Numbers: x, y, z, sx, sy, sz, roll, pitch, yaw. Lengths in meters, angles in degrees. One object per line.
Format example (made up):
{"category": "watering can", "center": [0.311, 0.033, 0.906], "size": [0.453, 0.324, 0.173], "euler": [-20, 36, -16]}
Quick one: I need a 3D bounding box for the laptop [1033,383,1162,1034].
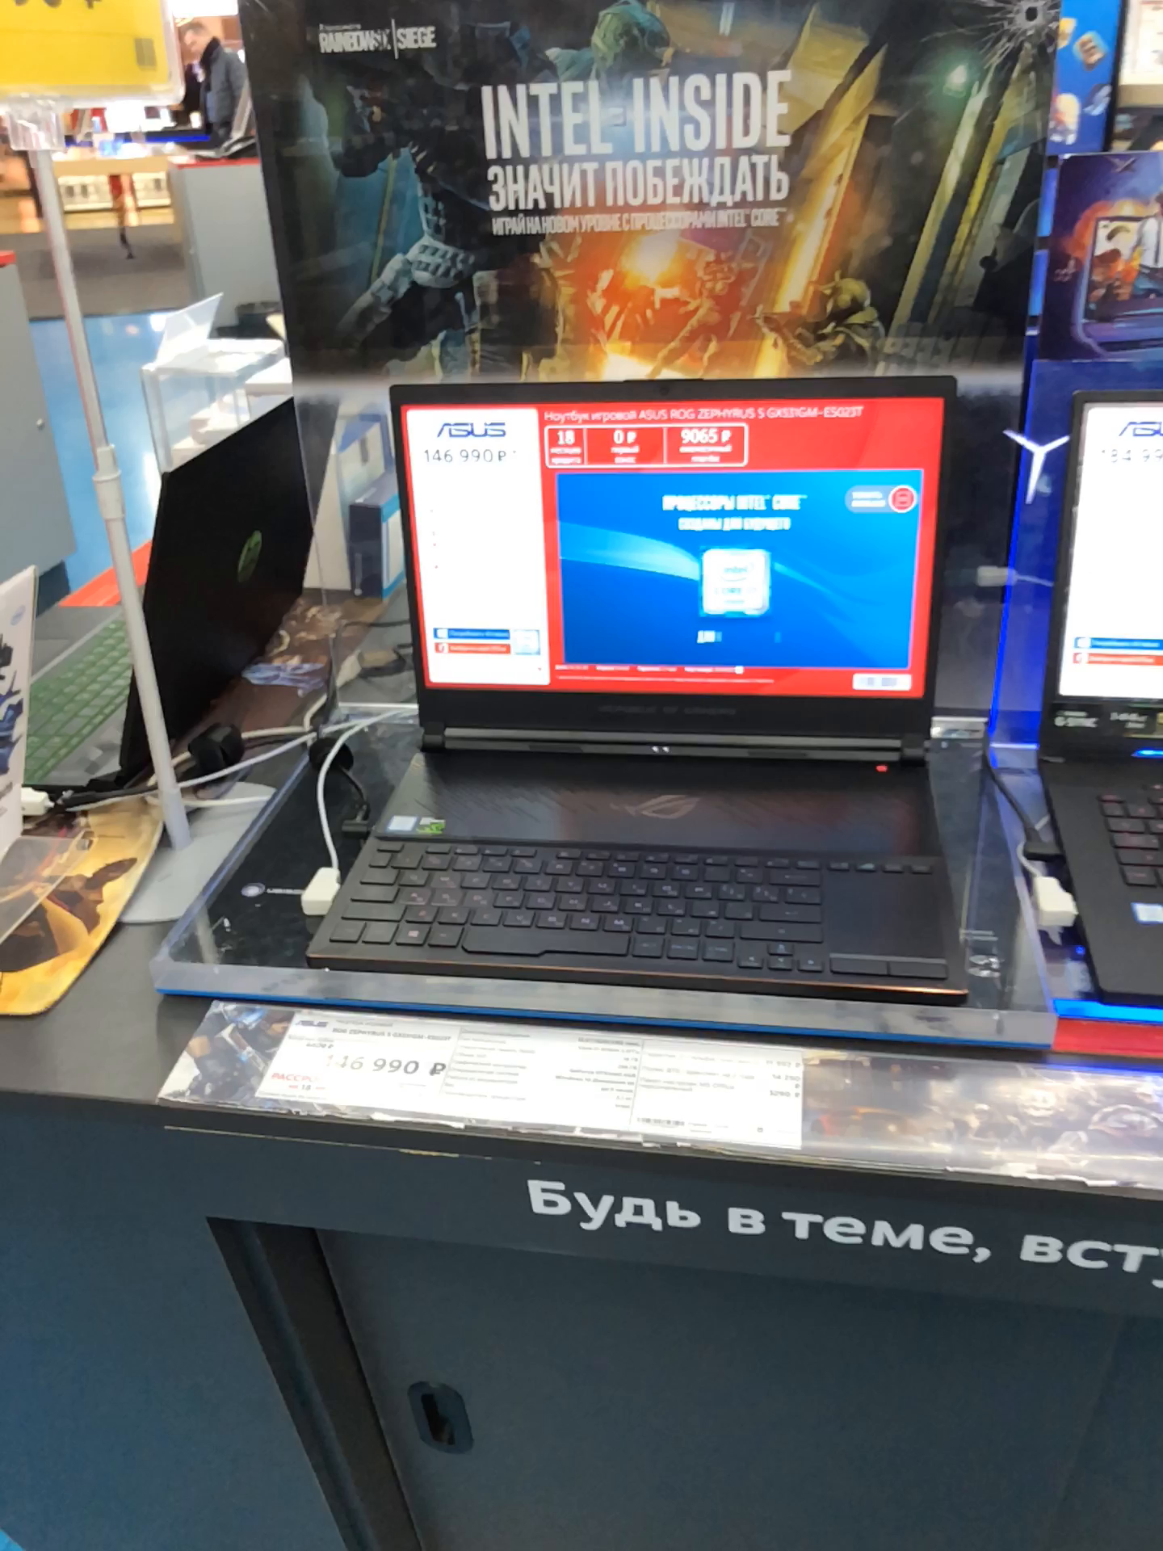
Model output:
{"category": "laptop", "center": [0.449, -0.059, 0.697], "size": [0.341, 0.219, 0.303], "euler": [3, 30, 12]}

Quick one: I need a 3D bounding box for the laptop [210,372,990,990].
{"category": "laptop", "center": [0.025, -0.073, 0.741], "size": [0.349, 0.241, 0.279], "euler": [2, 30, 9]}
